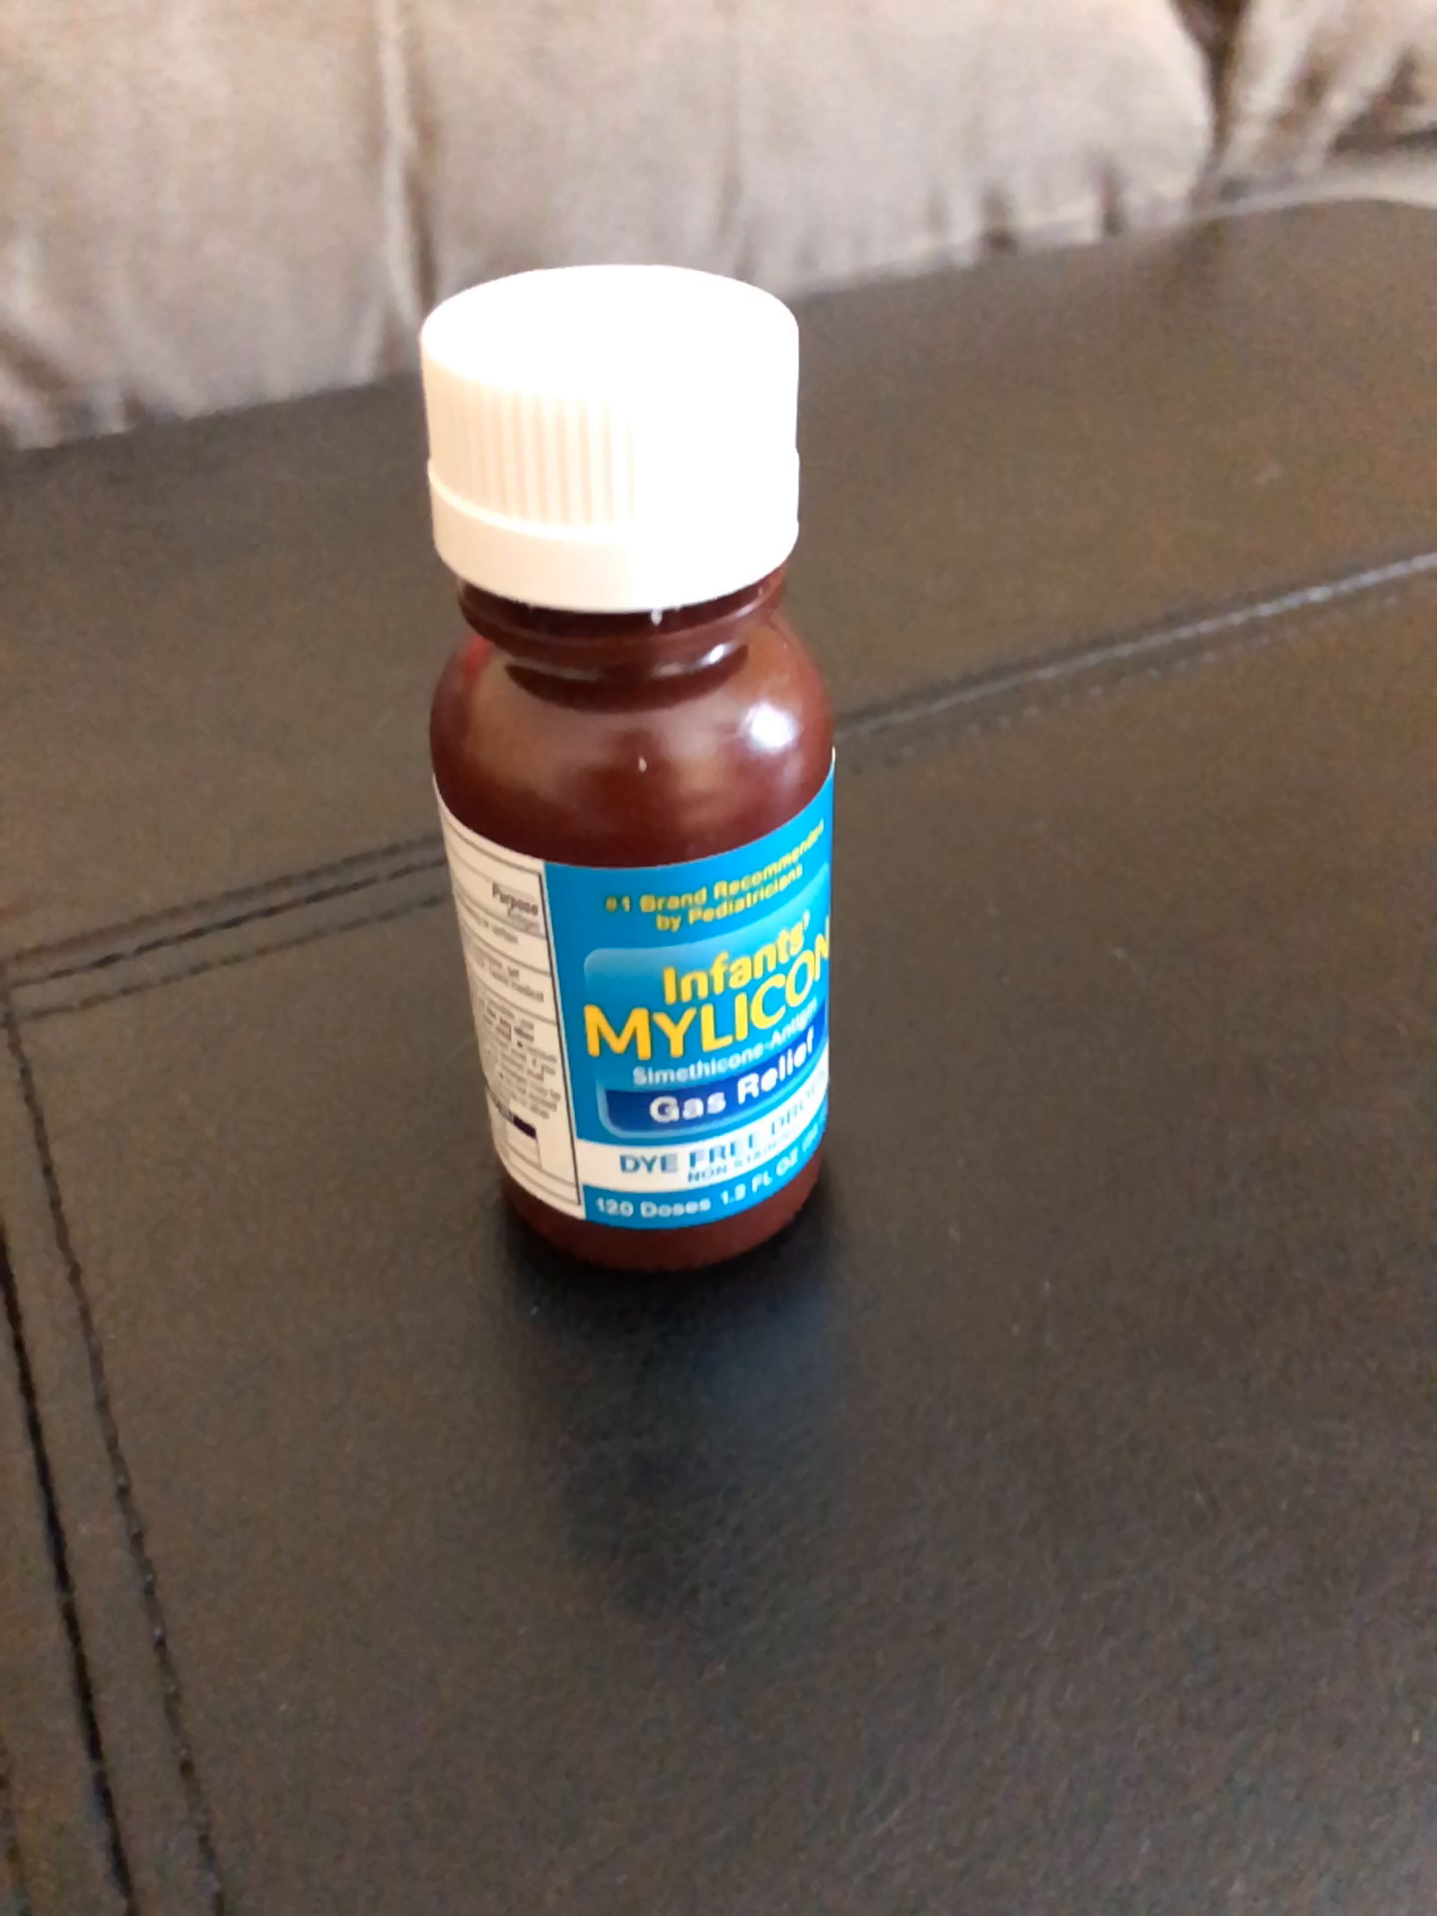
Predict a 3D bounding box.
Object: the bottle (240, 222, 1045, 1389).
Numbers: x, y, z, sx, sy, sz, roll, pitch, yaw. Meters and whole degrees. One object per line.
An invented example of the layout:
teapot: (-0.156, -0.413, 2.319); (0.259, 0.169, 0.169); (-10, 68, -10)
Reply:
bottle: (-0.005, -0.011, 0.138); (0.040, 0.080, 0.040); (-2, 40, 2)
